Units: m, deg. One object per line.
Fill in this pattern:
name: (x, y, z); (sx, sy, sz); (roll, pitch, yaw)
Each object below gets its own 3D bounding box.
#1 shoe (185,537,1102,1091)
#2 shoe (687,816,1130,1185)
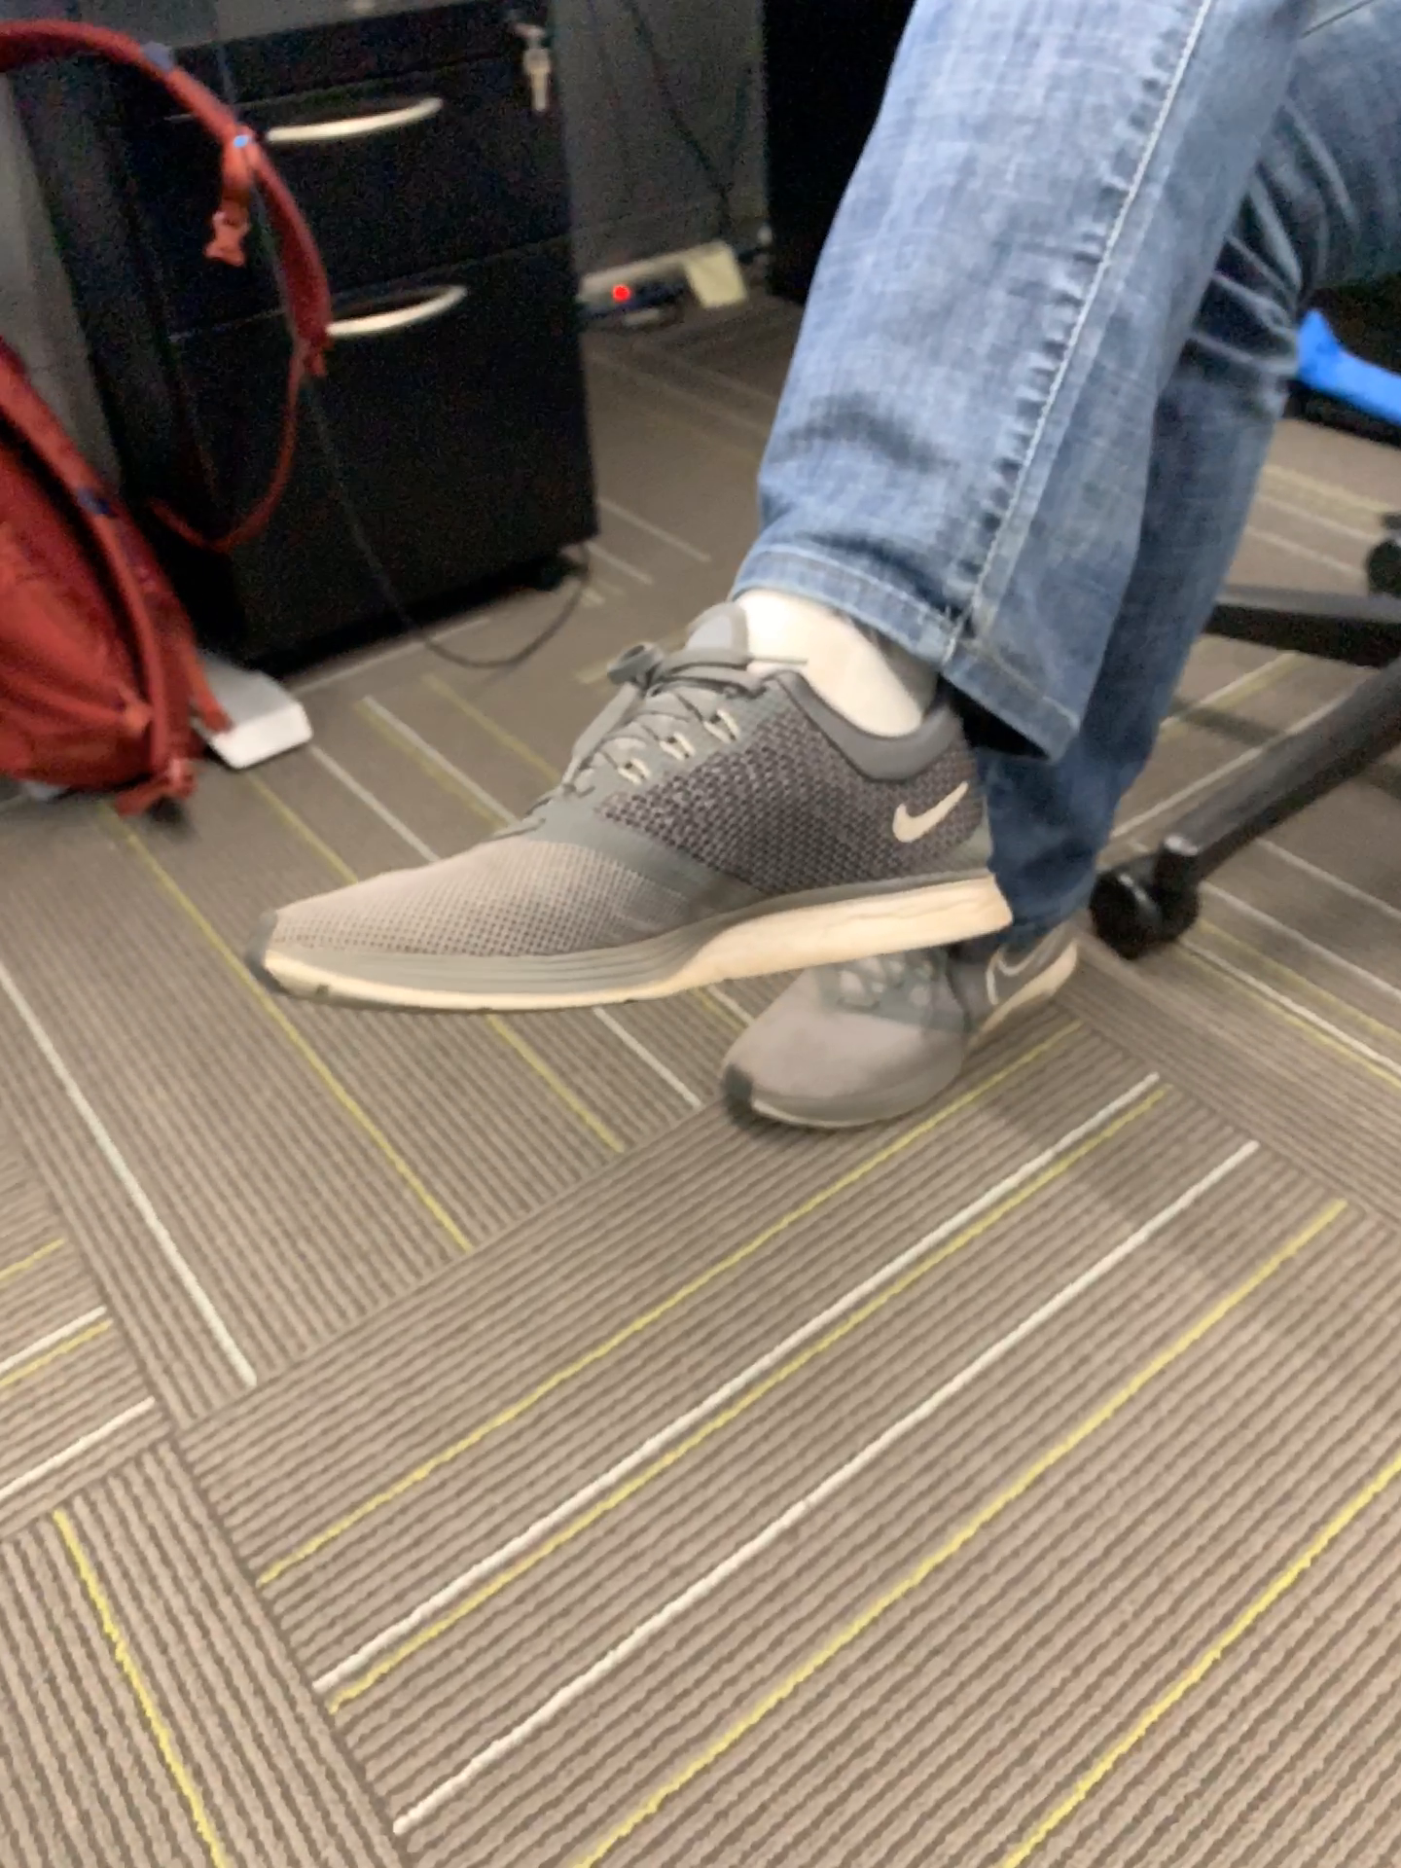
shoe: (-0.023, -0.045, 0.540); (0.295, 0.143, 0.122); (-11, -1, -21)
shoe: (0.137, 0.035, 0.949); (0.269, 0.085, 0.120); (-27, 46, -26)
